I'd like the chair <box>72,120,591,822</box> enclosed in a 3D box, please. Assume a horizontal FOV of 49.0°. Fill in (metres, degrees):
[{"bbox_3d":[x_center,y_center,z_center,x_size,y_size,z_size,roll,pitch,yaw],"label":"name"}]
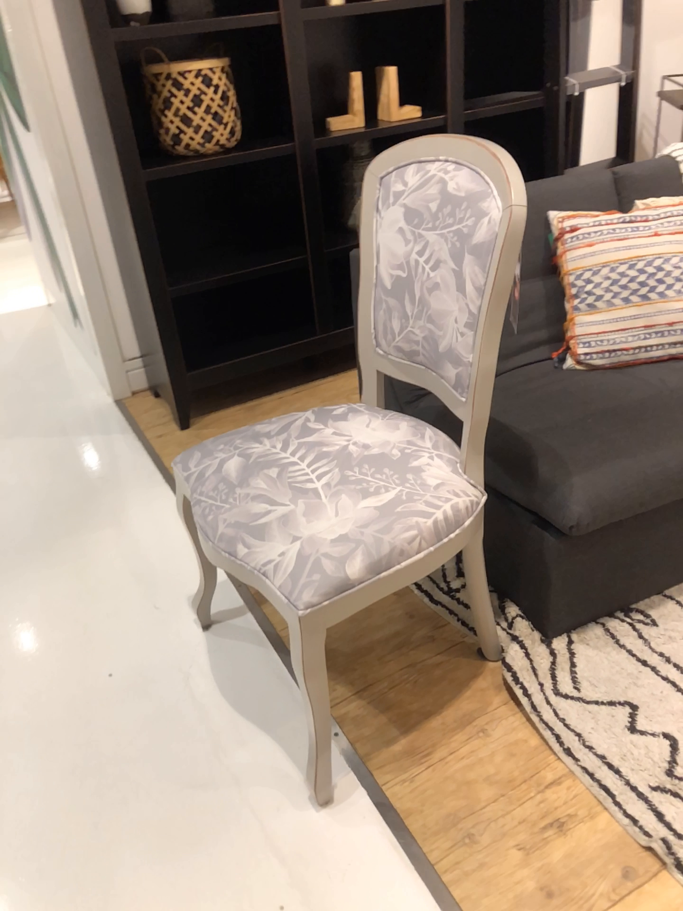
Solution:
[{"bbox_3d":[-0.015,-0.010,1.303,0.531,0.943,0.573,-20,34,-22],"label":"chair"}]
